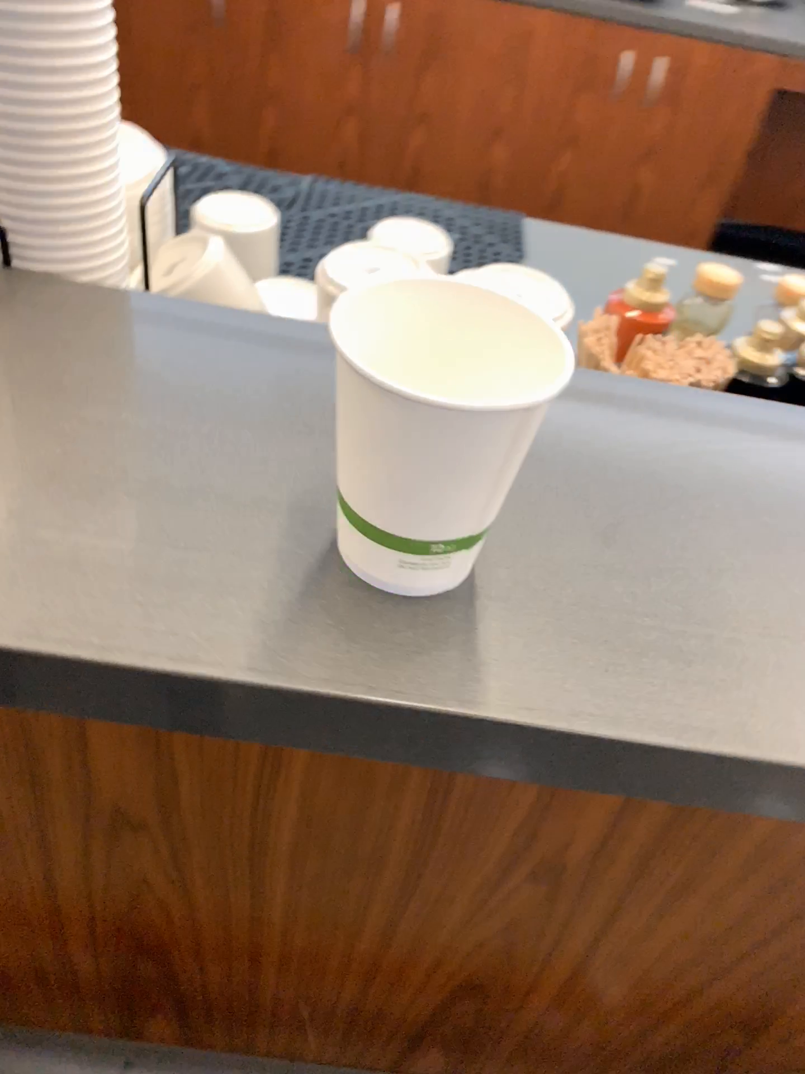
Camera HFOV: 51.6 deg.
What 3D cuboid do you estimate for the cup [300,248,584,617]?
[{"bbox_3d":[0.006,-0.038,0.335,0.080,0.119,0.080,7,43,-6],"label":"cup"}]
